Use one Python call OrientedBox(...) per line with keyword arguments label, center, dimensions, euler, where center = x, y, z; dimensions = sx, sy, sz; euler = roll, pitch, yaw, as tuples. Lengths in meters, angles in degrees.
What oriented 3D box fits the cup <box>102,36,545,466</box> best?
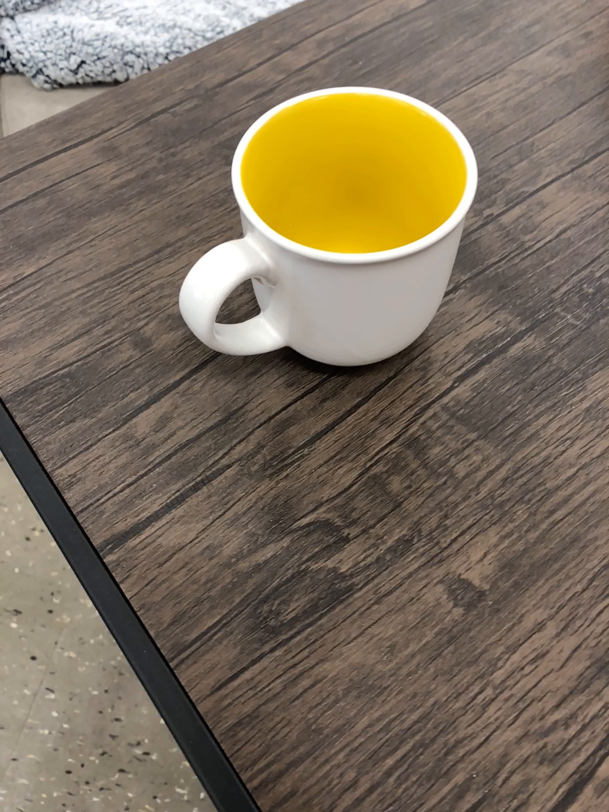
OrientedBox(label="cup", center=(0.008, -0.061, 0.277), dimensions=(0.130, 0.100, 0.080), euler=(-31, 64, -16))
